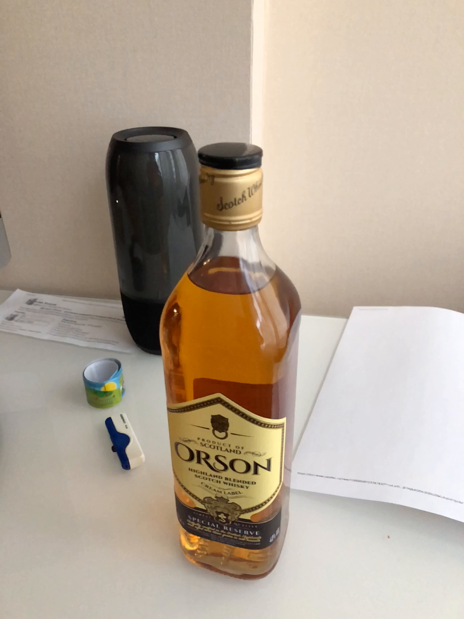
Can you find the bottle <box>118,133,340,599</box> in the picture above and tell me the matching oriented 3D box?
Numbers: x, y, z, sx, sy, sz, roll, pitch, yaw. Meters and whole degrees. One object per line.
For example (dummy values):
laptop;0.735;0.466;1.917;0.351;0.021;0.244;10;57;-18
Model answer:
bottle;0.003;0.043;0.292;0.080;0.258;0.070;10;31;17
